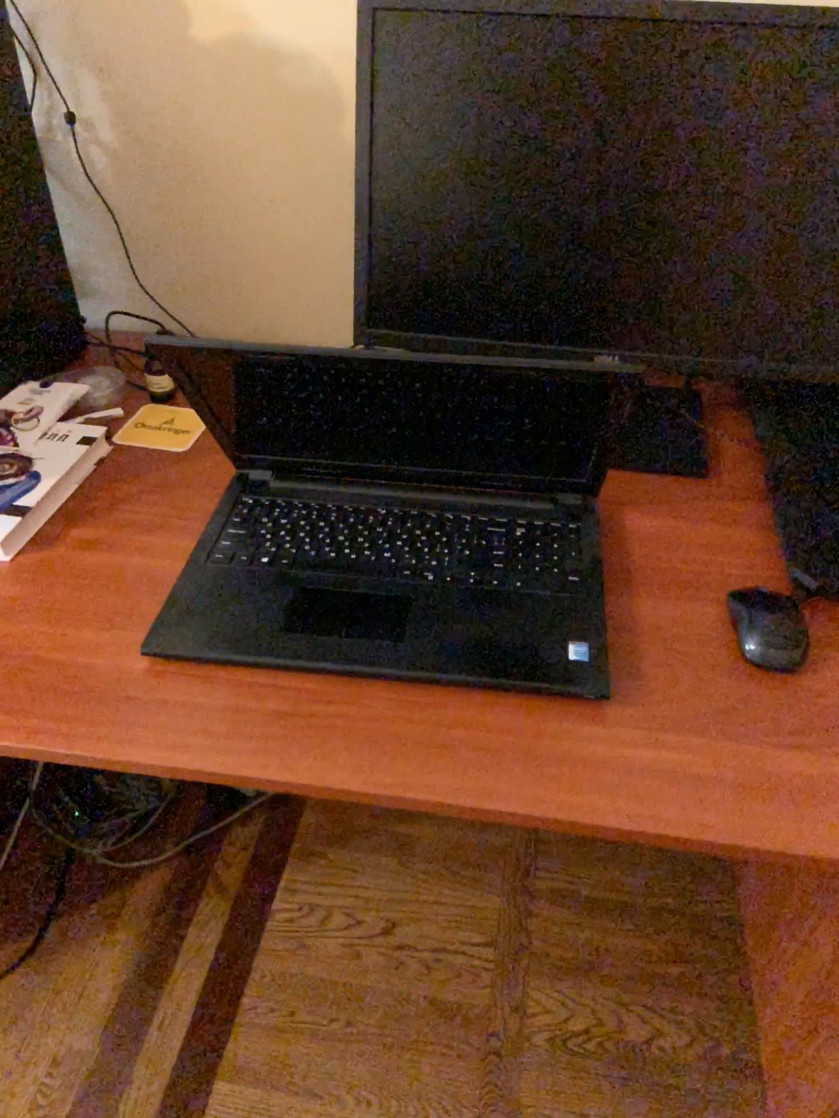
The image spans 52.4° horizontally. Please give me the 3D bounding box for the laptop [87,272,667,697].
[{"bbox_3d":[-0.020,-0.074,0.703,0.372,0.212,0.255,5,39,5],"label":"laptop"}]
